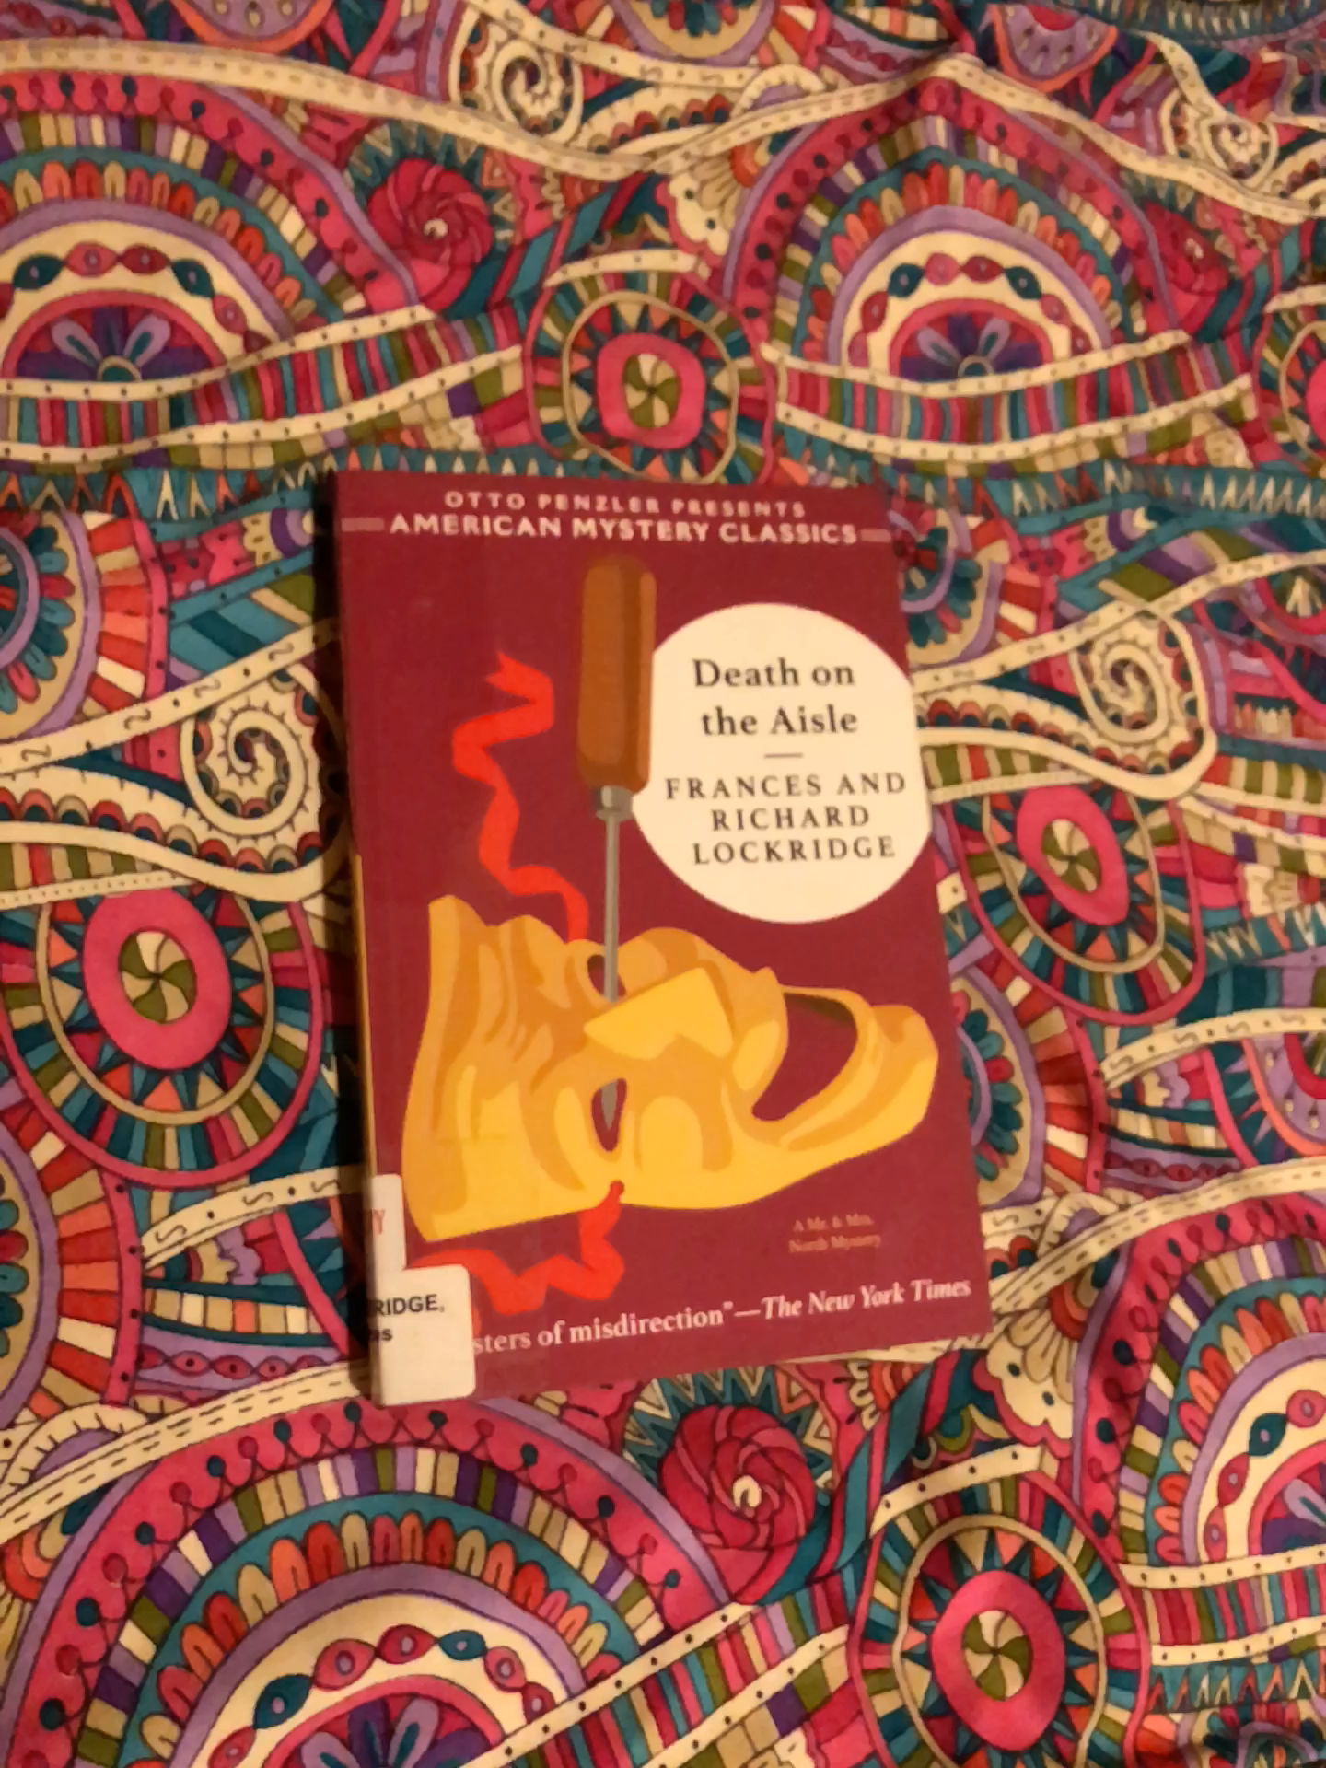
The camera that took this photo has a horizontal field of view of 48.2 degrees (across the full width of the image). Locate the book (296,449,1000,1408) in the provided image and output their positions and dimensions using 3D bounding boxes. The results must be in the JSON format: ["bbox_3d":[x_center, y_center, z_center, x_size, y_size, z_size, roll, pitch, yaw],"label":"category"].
[{"bbox_3d":[-0.006,0.003,0.328,0.137,0.024,0.196,-2,78,-16],"label":"book"}]
